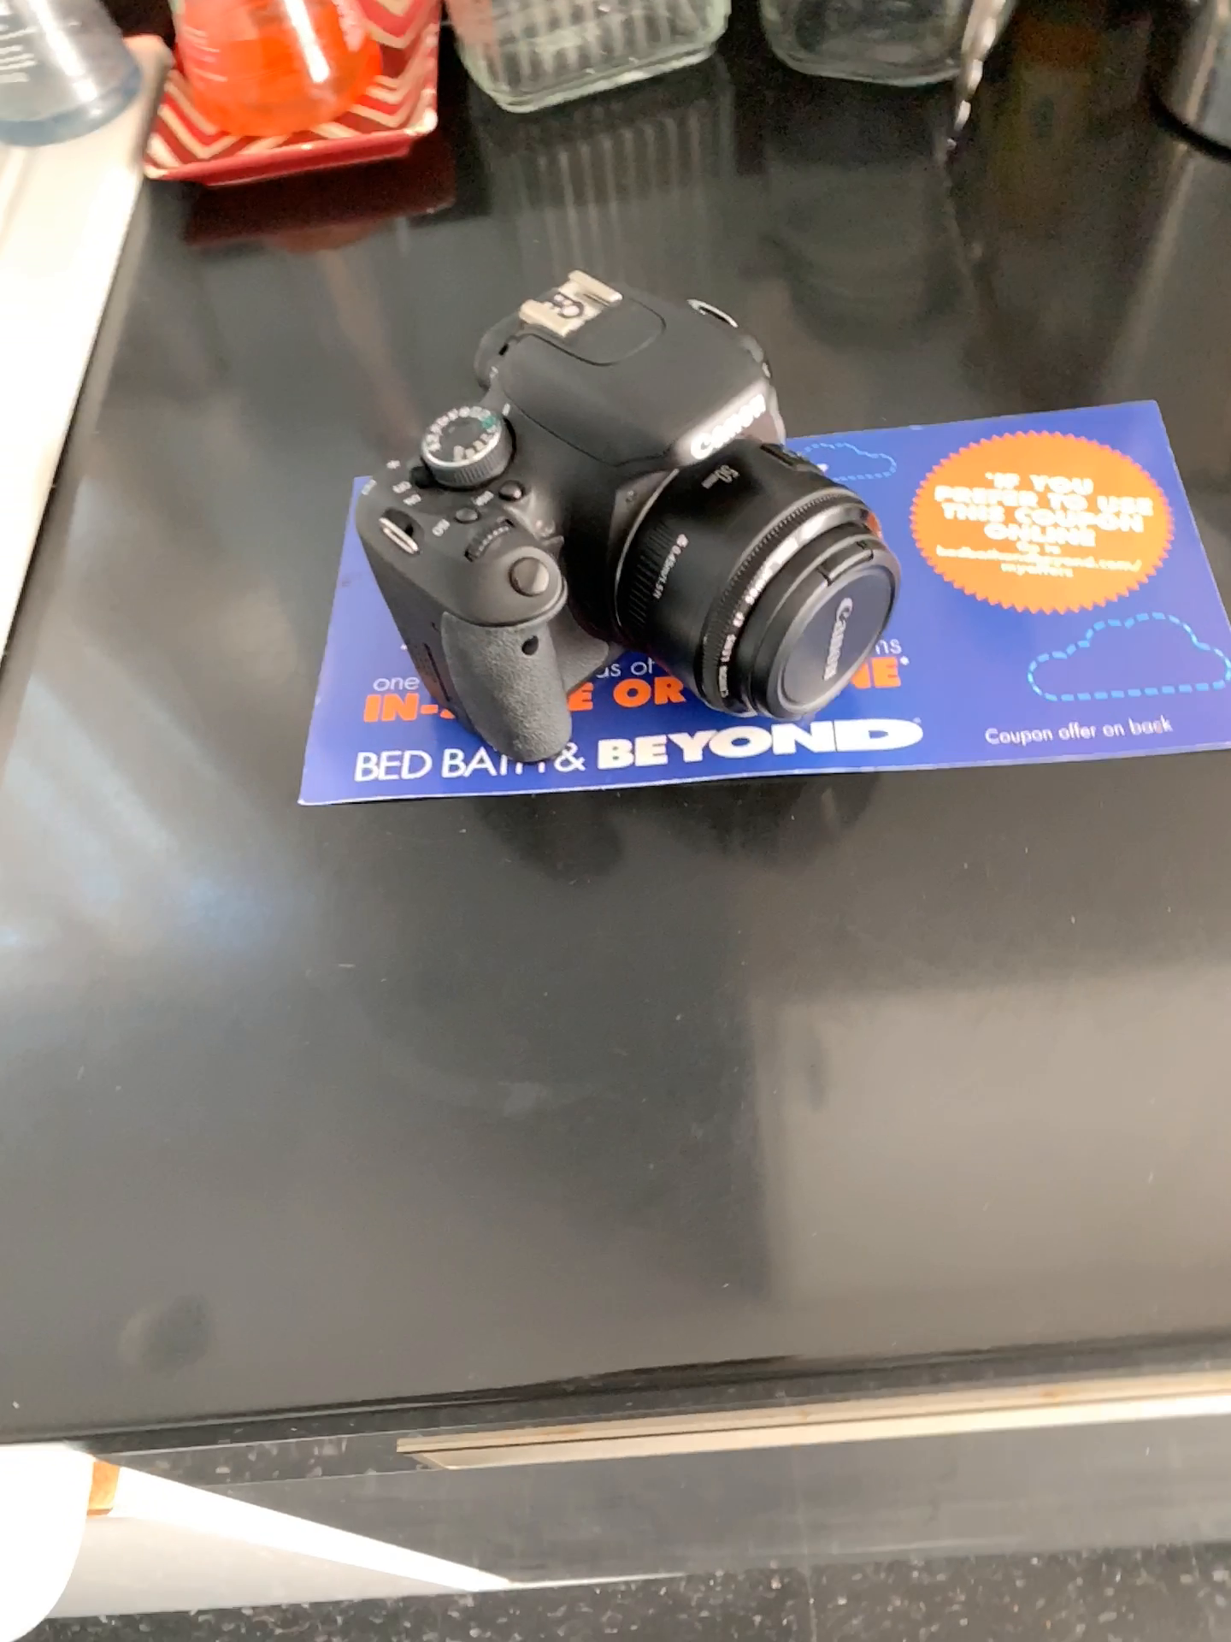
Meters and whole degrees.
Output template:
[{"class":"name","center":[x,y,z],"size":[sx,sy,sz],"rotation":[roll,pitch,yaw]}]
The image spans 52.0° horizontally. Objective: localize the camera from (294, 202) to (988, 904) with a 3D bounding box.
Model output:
[{"class":"camera","center":[0.009,-0.076,0.348],"size":[0.122,0.098,0.118],"rotation":[-40,60,-17]}]
